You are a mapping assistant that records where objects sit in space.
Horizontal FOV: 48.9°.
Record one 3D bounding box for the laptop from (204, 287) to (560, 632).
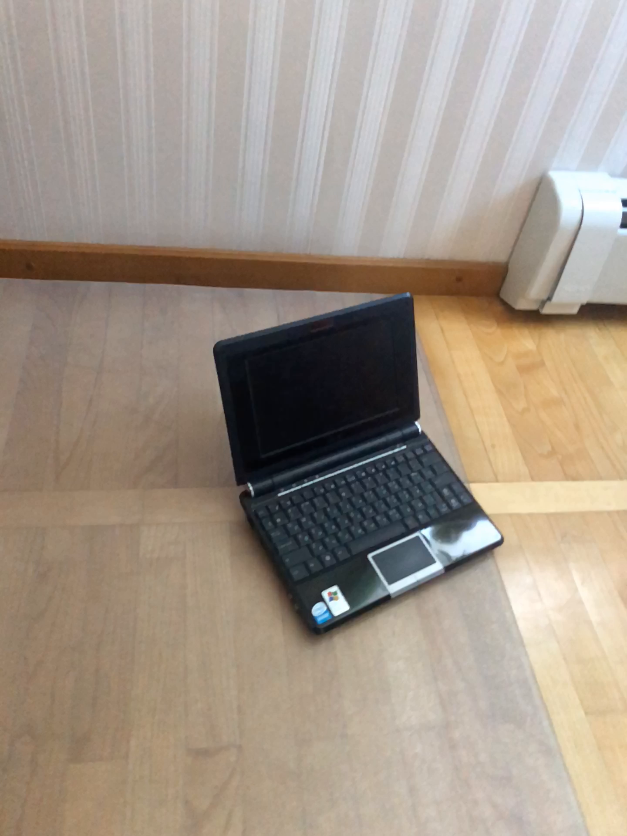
[{"bbox_3d":[0.060,0.029,0.775,0.264,0.159,0.277,-18,56,-26],"label":"laptop"}]
